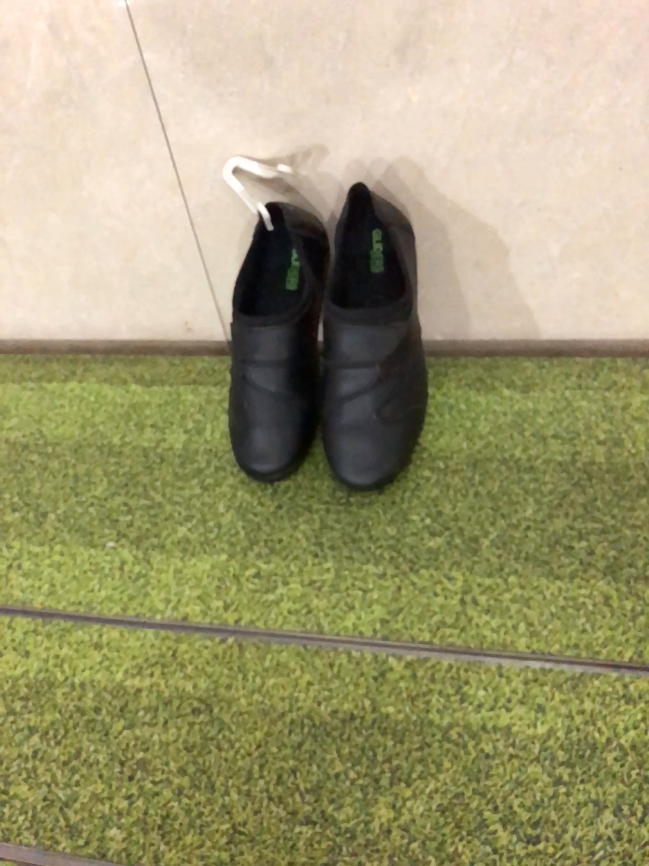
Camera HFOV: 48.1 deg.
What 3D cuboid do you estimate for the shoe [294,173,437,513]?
[{"bbox_3d":[0.033,-0.066,0.558,0.090,0.081,0.236,3,96,12],"label":"shoe"}]

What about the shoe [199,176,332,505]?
[{"bbox_3d":[-0.045,-0.069,0.575,0.080,0.081,0.236,3,96,12],"label":"shoe"}]
